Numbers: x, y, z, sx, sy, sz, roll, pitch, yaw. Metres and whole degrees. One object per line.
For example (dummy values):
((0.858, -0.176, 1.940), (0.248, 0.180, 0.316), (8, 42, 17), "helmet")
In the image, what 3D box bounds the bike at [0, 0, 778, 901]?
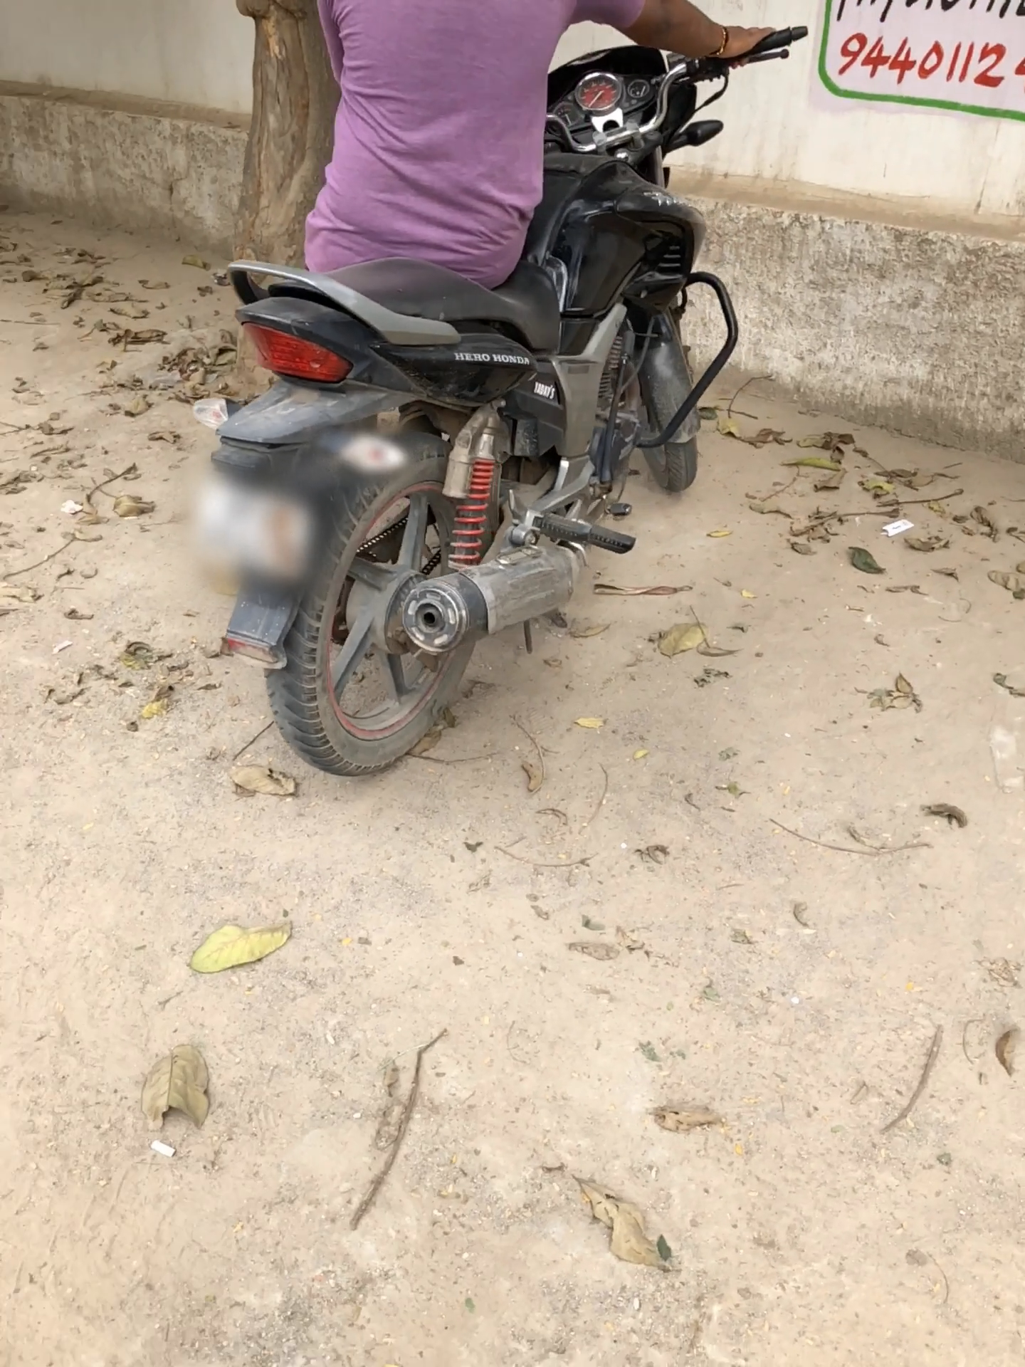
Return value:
((-0.067, -0.775, 2.362), (0.823, 1.190, 1.851), (11, 36, 17), "bike")
